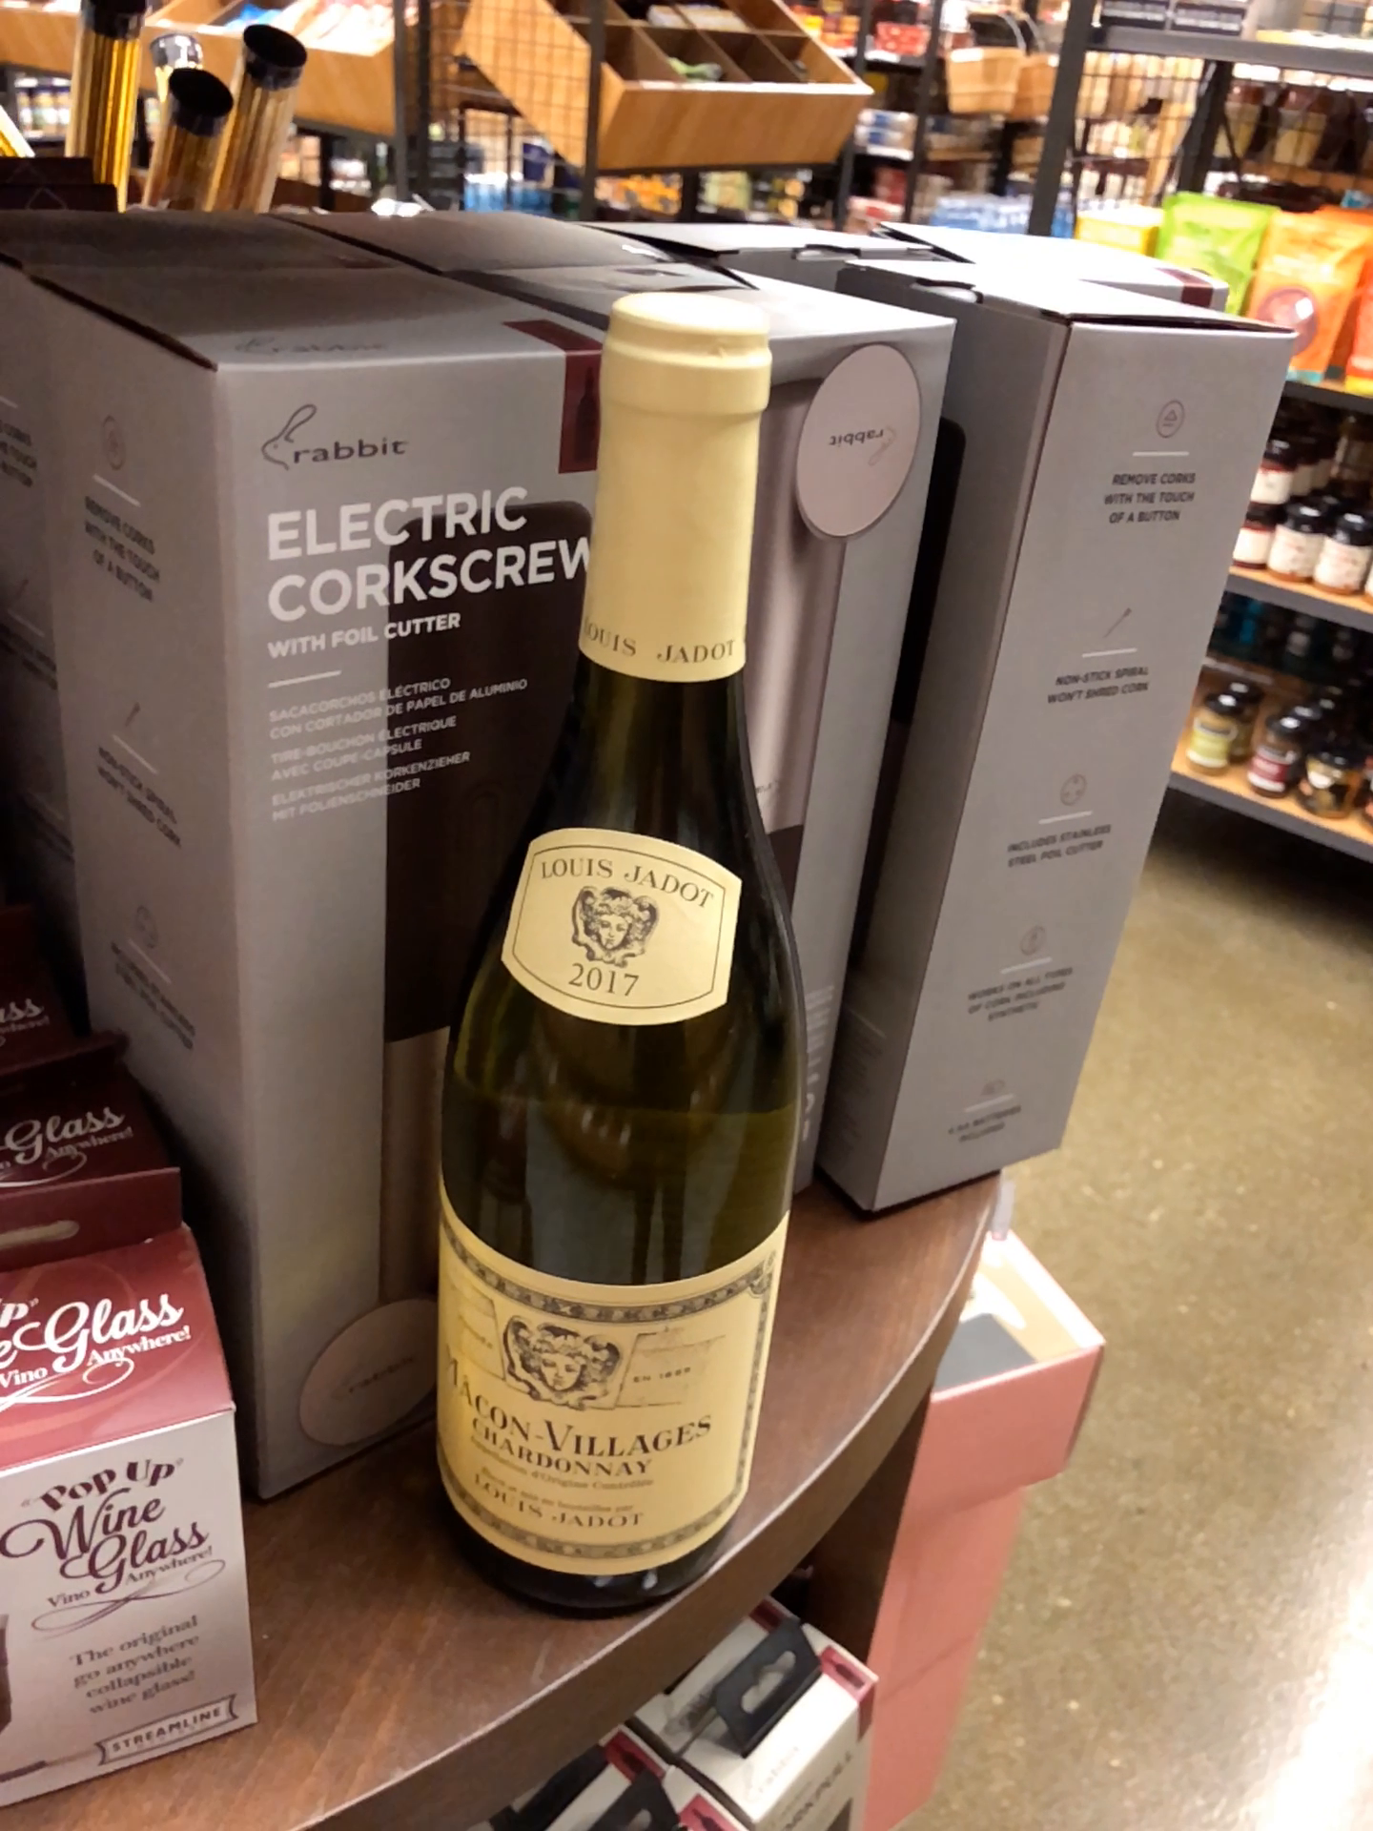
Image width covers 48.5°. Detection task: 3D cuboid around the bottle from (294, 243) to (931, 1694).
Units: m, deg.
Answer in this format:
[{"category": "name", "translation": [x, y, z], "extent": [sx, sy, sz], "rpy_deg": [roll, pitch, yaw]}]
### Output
[{"category": "bottle", "translation": [-0.017, 0.027, 0.328], "extent": [0.090, 0.299, 0.090], "rpy_deg": [4, 30, -2]}]
